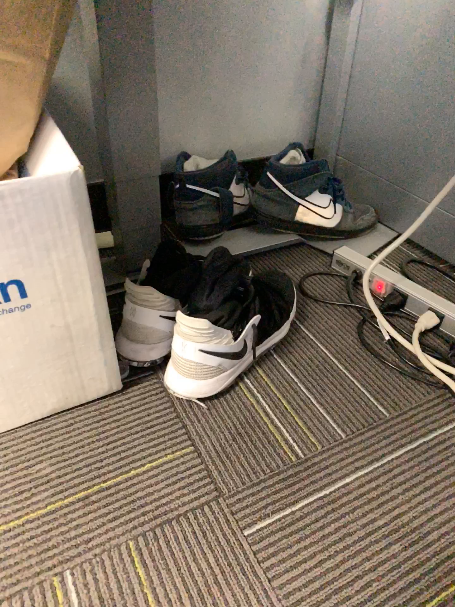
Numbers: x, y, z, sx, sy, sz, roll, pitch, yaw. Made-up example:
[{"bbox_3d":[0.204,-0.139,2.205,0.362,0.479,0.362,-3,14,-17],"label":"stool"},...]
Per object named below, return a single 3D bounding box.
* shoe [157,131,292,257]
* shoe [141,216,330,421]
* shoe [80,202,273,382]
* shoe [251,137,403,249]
[{"bbox_3d":[0.002,-0.251,1.004,0.130,0.169,0.331,20,34,22],"label":"shoe"},{"bbox_3d":[0.023,0.004,0.649,0.100,0.129,0.291,25,43,26],"label":"shoe"},{"bbox_3d":[-0.062,-0.033,0.719,0.100,0.129,0.301,28,44,29],"label":"shoe"},{"bbox_3d":[0.199,-0.234,0.990,0.260,0.159,0.131,6,36,-8],"label":"shoe"}]
